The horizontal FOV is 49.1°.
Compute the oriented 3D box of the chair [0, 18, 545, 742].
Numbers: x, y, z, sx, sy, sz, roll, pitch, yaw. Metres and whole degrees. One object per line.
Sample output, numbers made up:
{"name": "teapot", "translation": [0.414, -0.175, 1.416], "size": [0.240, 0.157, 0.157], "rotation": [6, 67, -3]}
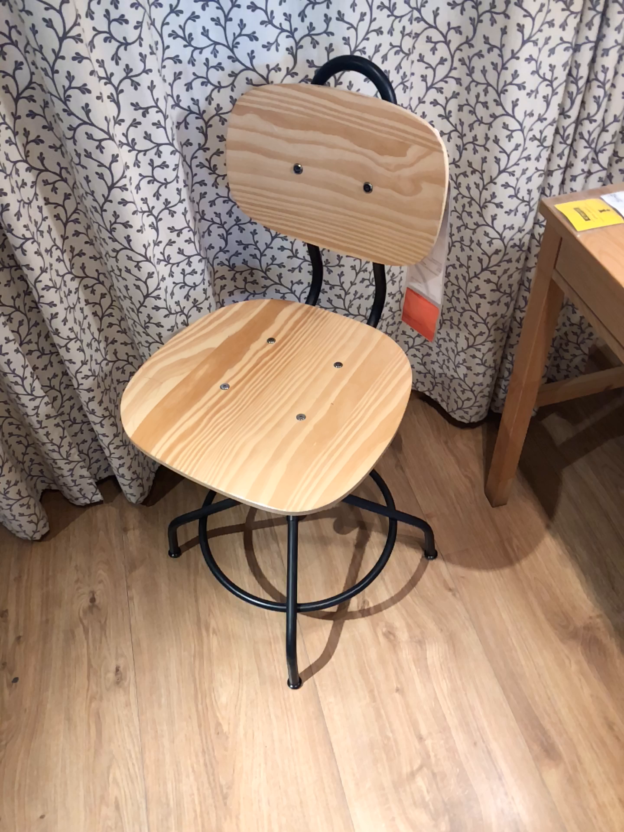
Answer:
{"name": "chair", "translation": [-0.070, -0.027, 1.030], "size": [0.521, 0.815, 0.552], "rotation": [21, 53, 21]}
